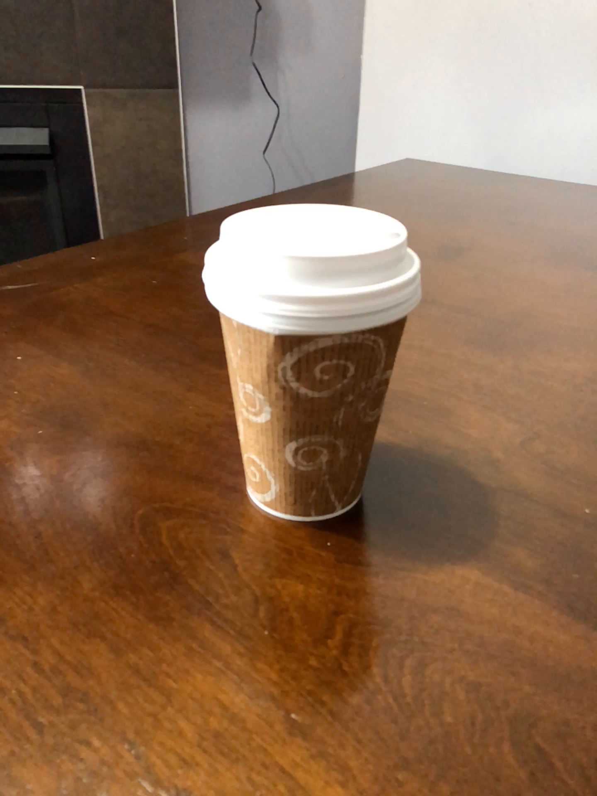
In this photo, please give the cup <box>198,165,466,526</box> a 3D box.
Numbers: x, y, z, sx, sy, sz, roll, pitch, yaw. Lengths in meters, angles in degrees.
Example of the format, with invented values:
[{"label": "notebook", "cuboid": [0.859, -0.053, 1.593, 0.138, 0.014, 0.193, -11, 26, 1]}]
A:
[{"label": "cup", "cuboid": [0.007, -0.021, 0.232, 0.070, 0.100, 0.080, 1, 29, -1]}]
